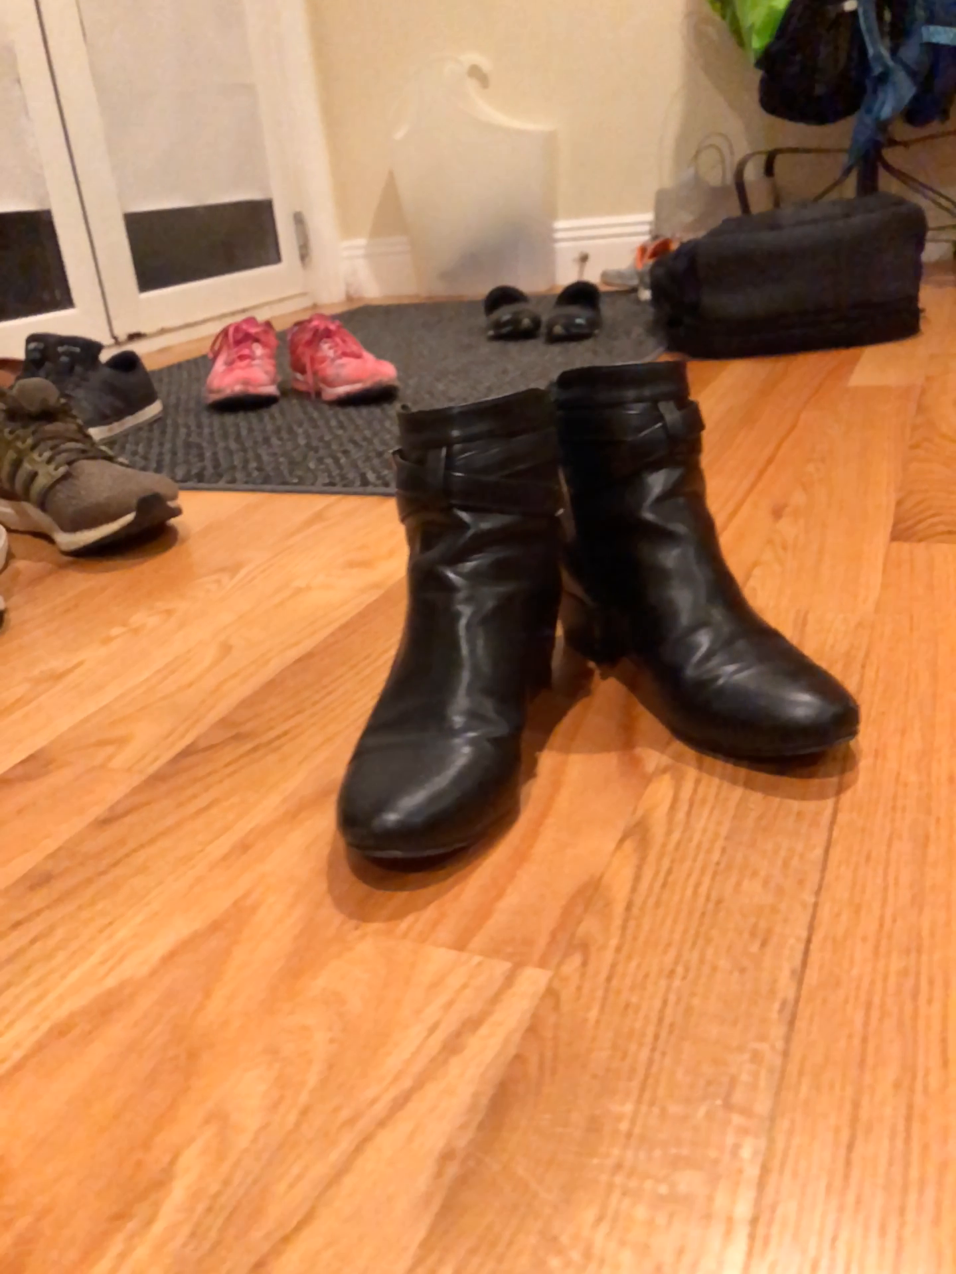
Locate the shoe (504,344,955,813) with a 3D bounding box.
[{"bbox_3d":[0.115,-0.048,0.542,0.090,0.172,0.227,-16,24,-23],"label":"shoe"}]

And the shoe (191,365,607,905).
[{"bbox_3d":[-0.015,-0.020,0.499,0.090,0.172,0.227,2,24,21],"label":"shoe"}]
